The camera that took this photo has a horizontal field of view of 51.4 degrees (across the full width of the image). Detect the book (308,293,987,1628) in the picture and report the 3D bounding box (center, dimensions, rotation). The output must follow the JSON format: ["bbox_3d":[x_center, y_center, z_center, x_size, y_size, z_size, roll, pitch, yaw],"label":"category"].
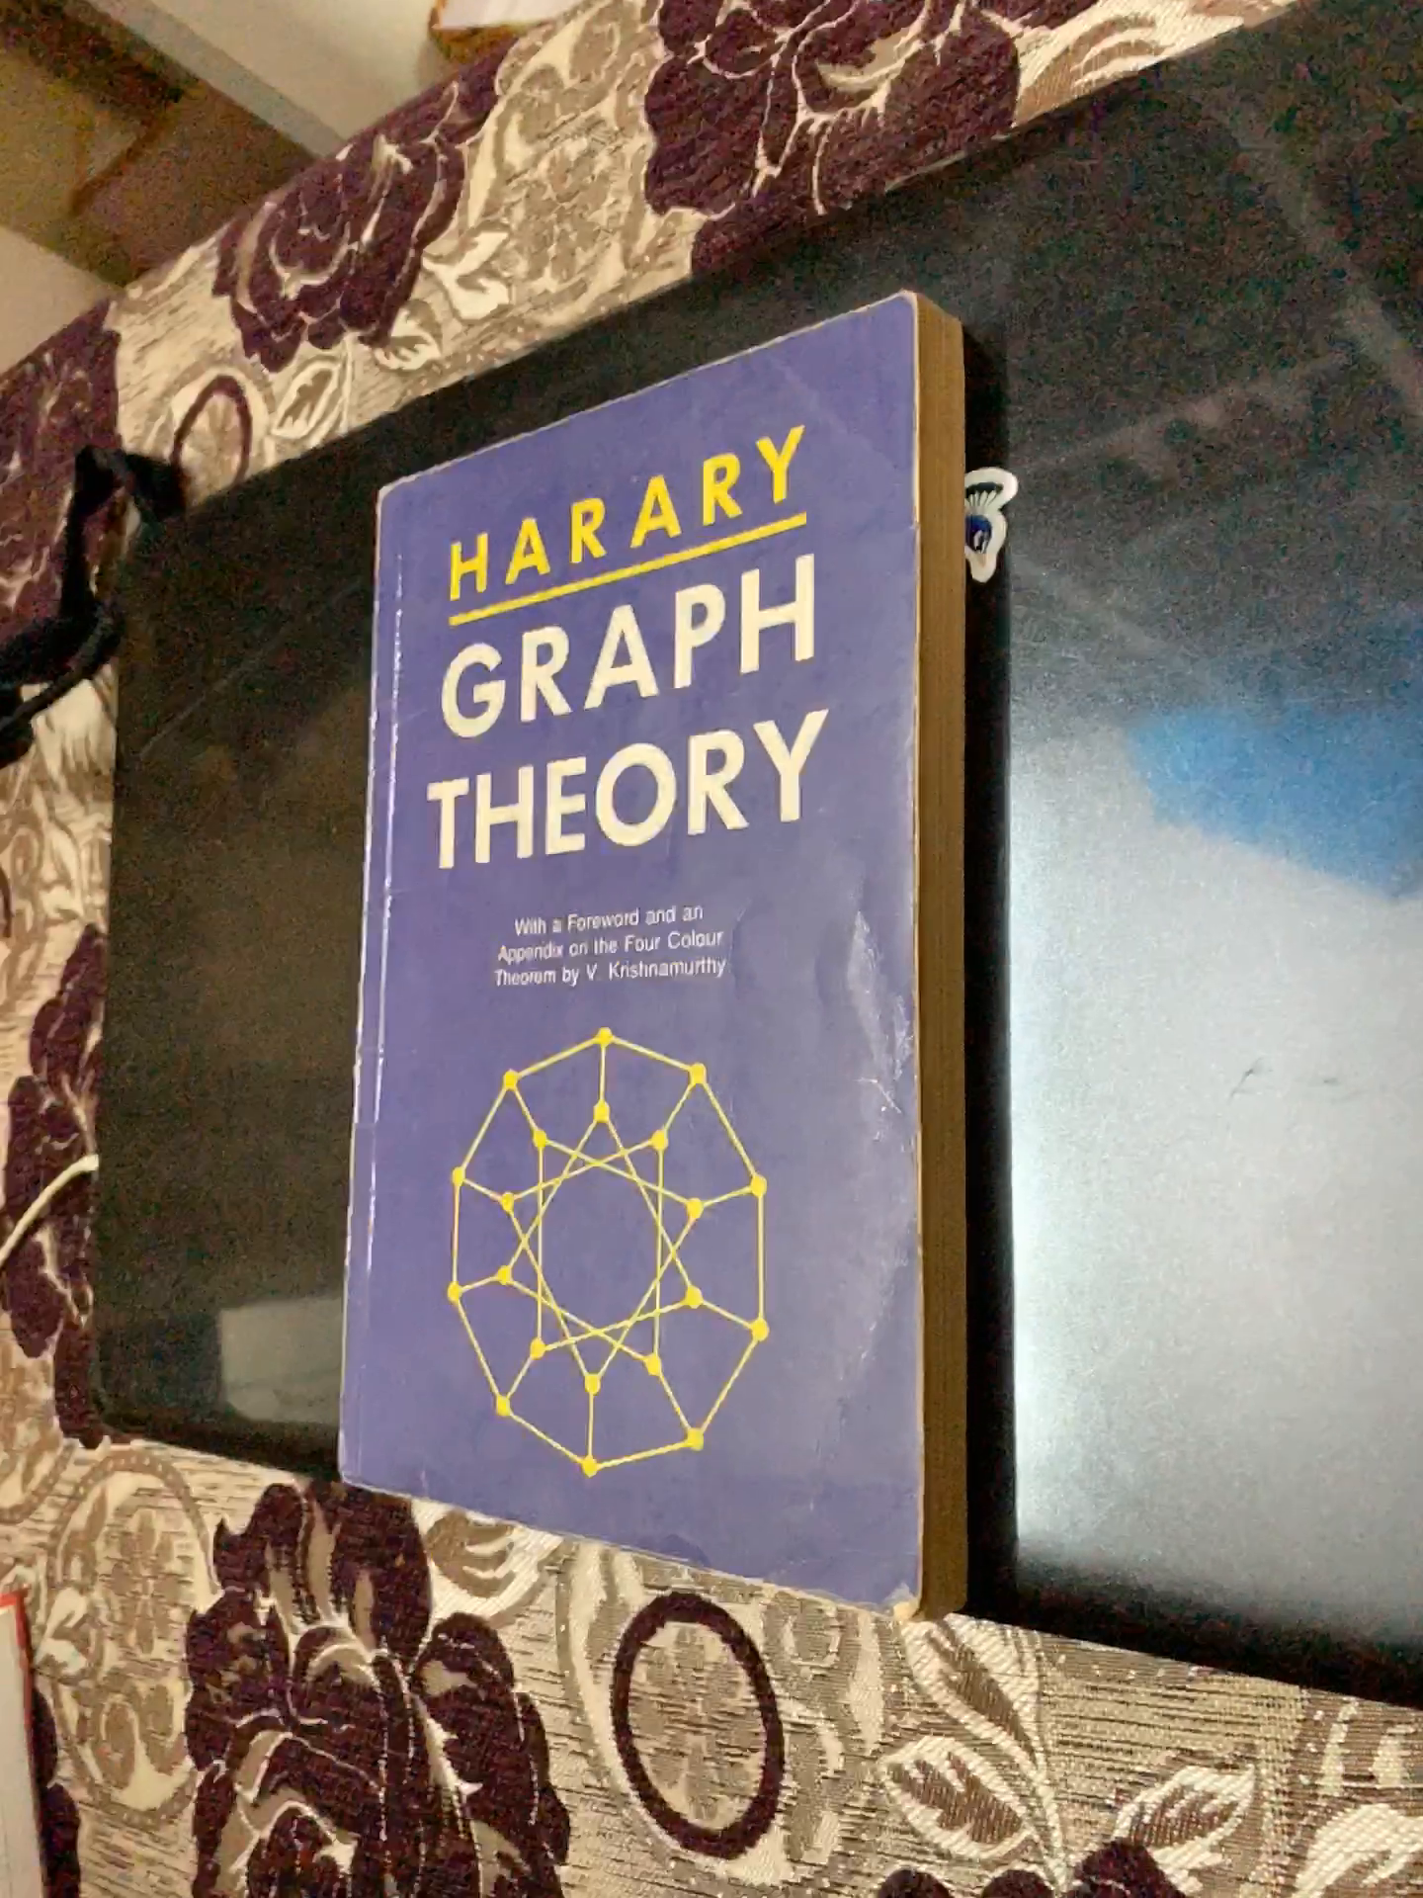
[{"bbox_3d":[-0.017,0.001,0.272,0.141,0.020,0.200,-4,82,38],"label":"book"}]
